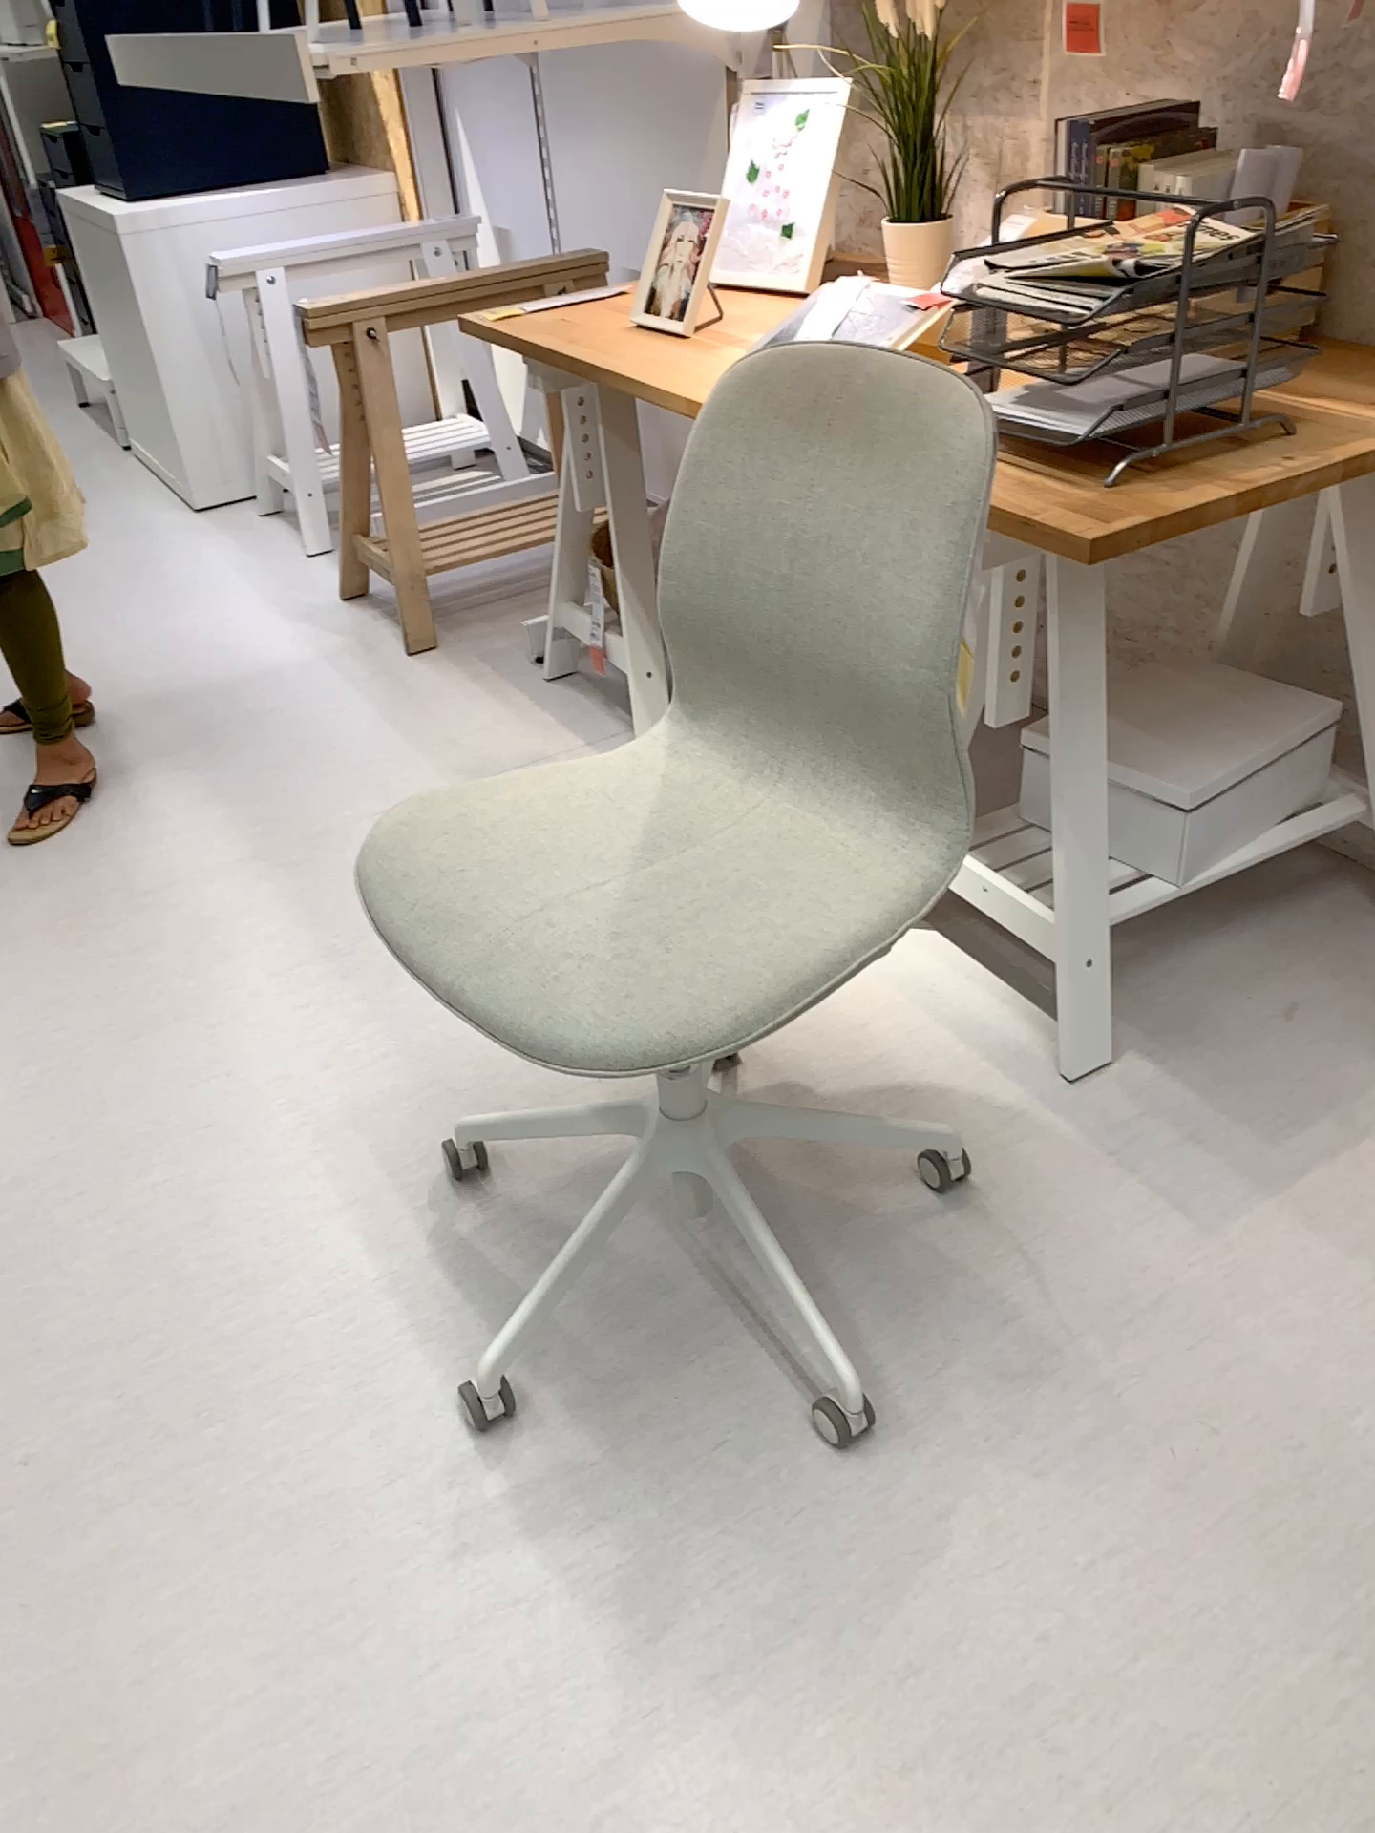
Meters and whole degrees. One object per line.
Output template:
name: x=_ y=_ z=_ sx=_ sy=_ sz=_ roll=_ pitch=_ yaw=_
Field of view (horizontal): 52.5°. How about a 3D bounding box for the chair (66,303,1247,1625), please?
chair: x=-0.025 y=-0.022 z=1.322 sx=0.660 sy=0.866 sz=0.662 roll=-25 pitch=39 yaw=-27
